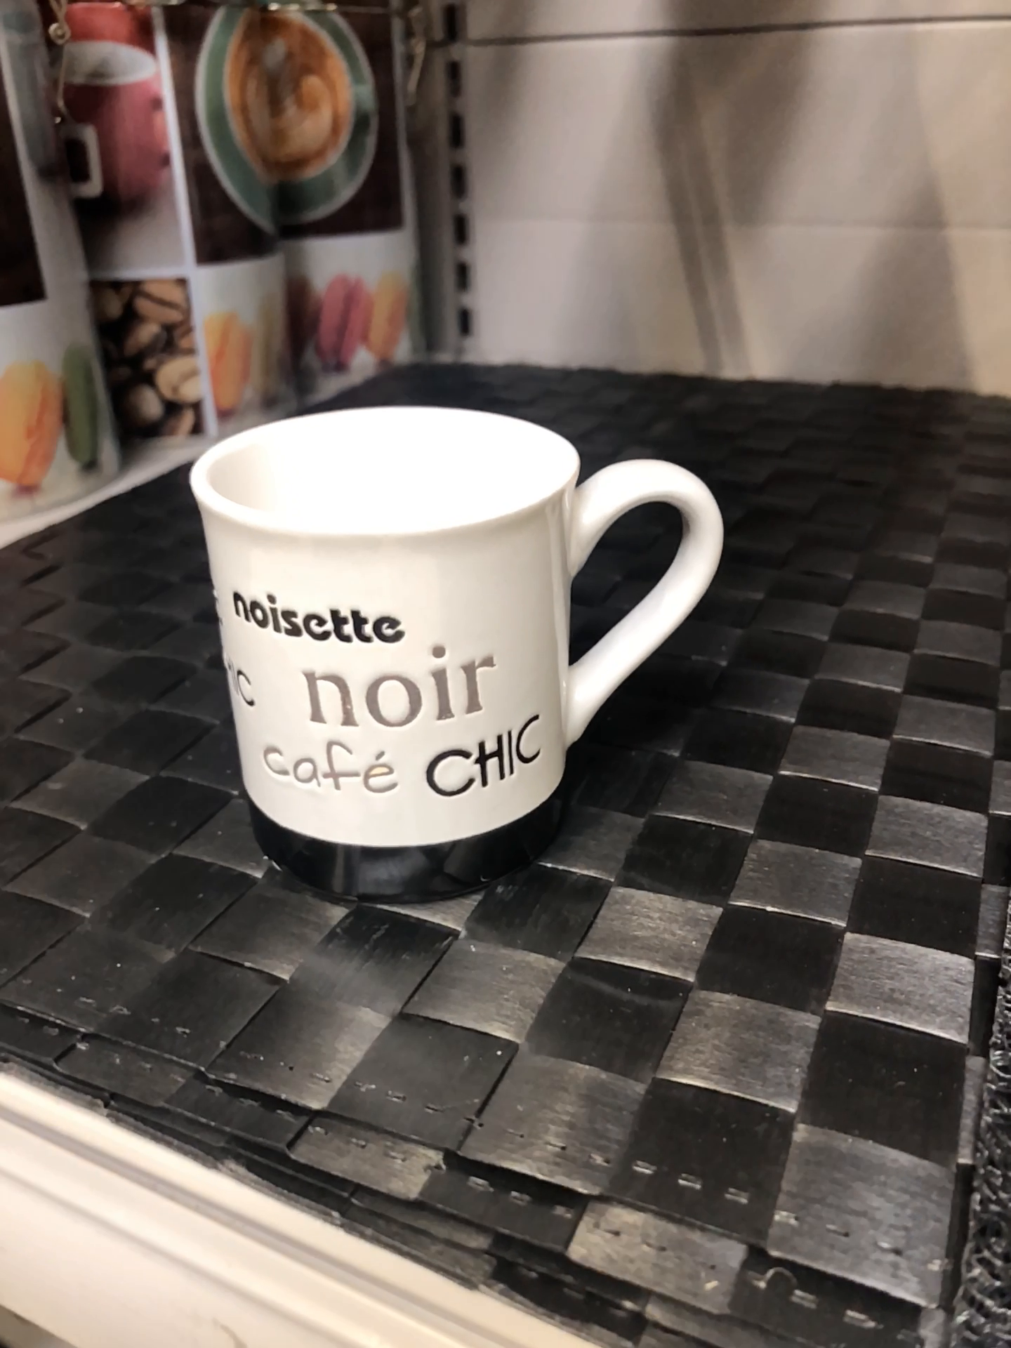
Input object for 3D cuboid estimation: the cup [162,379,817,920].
[{"bbox_3d":[-0.004,-0.009,0.204,0.092,0.066,0.068,-5,28,-6],"label":"cup"}]
